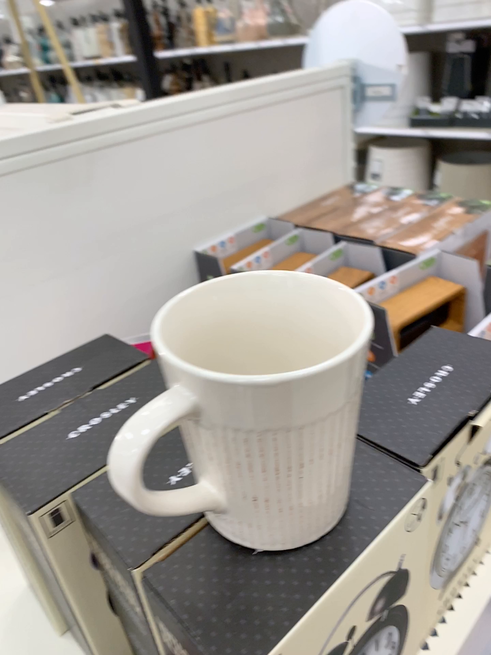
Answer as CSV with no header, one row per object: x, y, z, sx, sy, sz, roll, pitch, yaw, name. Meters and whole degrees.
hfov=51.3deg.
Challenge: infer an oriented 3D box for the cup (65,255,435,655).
0.005,0.042,0.221,0.117,0.099,0.084,-25,36,-33,cup
